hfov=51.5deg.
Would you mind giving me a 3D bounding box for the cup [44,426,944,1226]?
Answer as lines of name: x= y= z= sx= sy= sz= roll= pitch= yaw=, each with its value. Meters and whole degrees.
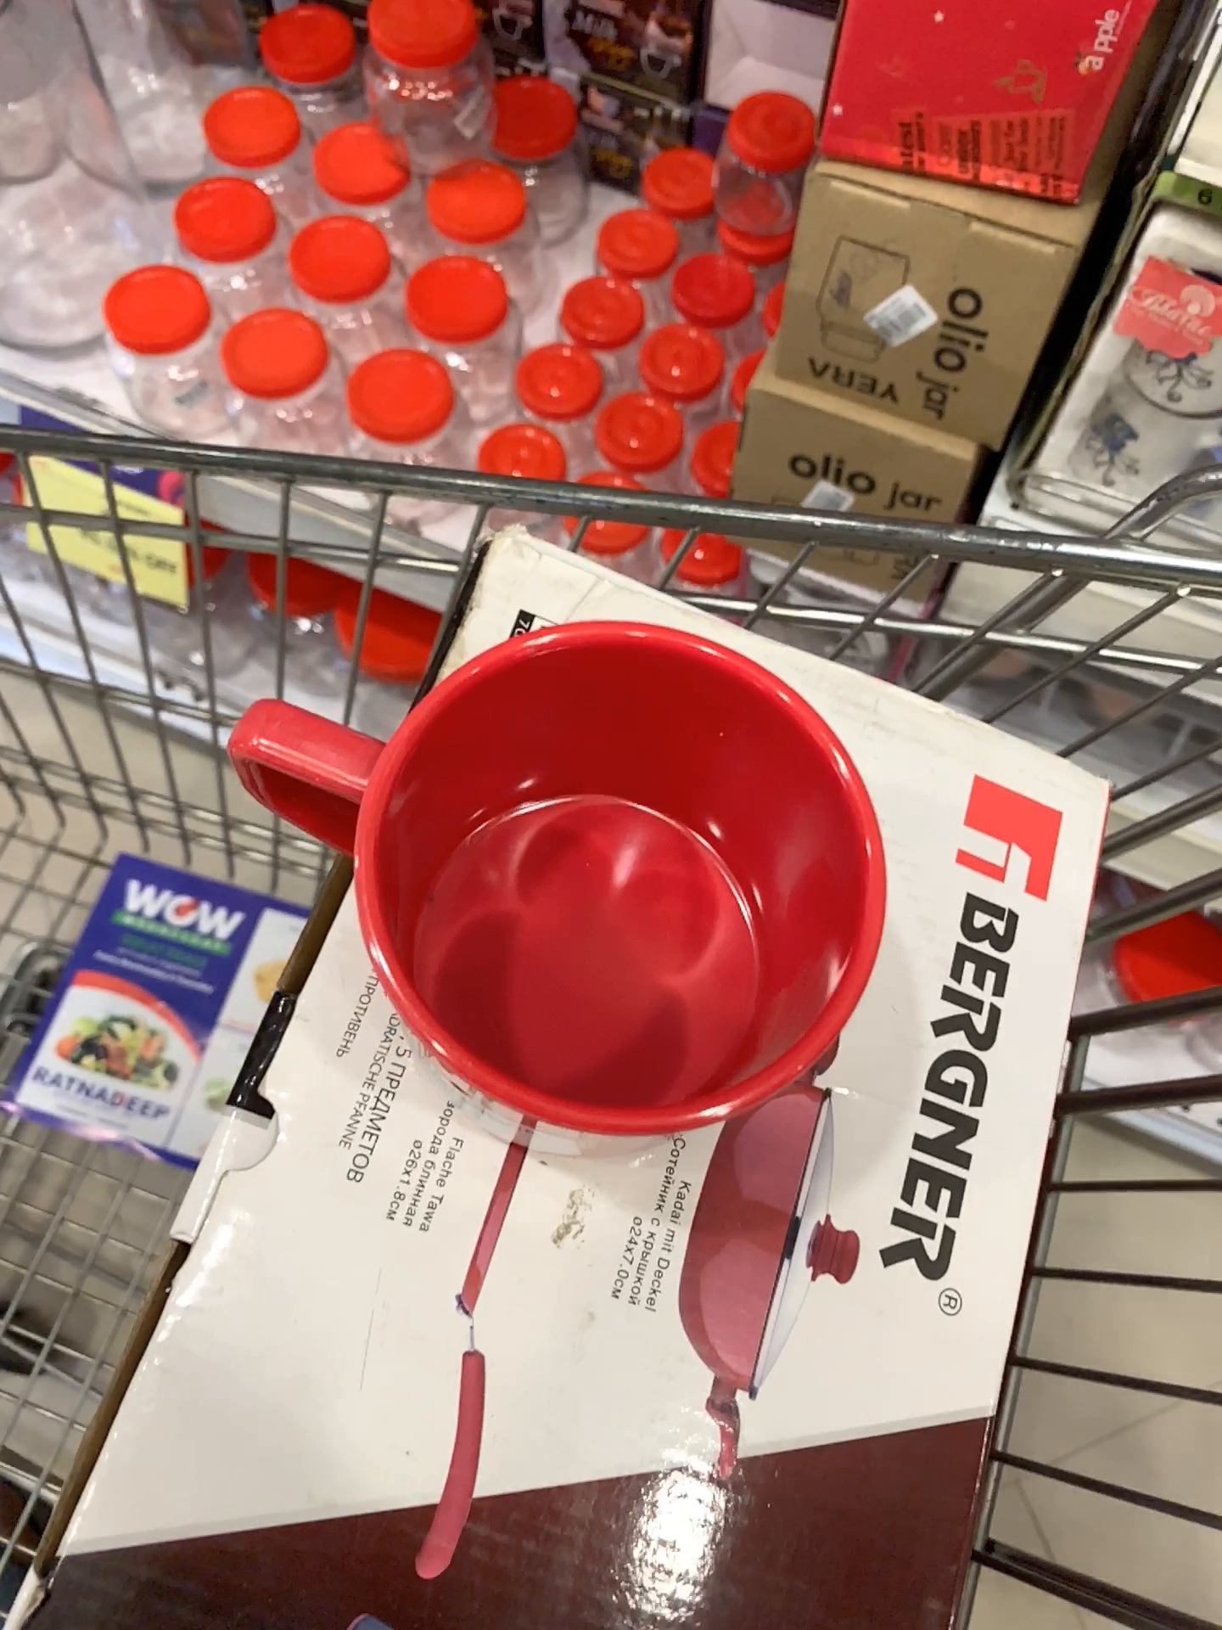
cup: x=-0.014 y=0.005 z=0.186 sx=0.090 sy=0.060 sz=0.070 roll=24 pitch=68 yaw=6
